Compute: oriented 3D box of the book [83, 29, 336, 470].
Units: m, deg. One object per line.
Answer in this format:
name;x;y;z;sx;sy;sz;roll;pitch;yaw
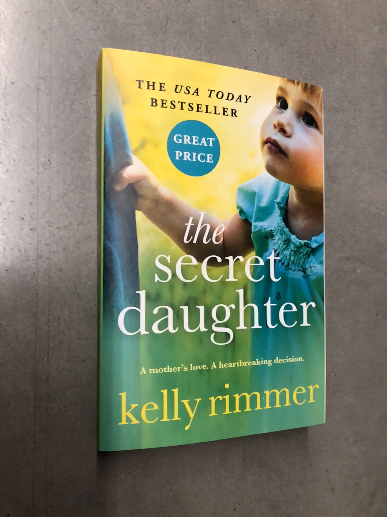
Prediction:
book;0.012;-0.005;0.242;0.140;0.030;0.210;1;89;-19
